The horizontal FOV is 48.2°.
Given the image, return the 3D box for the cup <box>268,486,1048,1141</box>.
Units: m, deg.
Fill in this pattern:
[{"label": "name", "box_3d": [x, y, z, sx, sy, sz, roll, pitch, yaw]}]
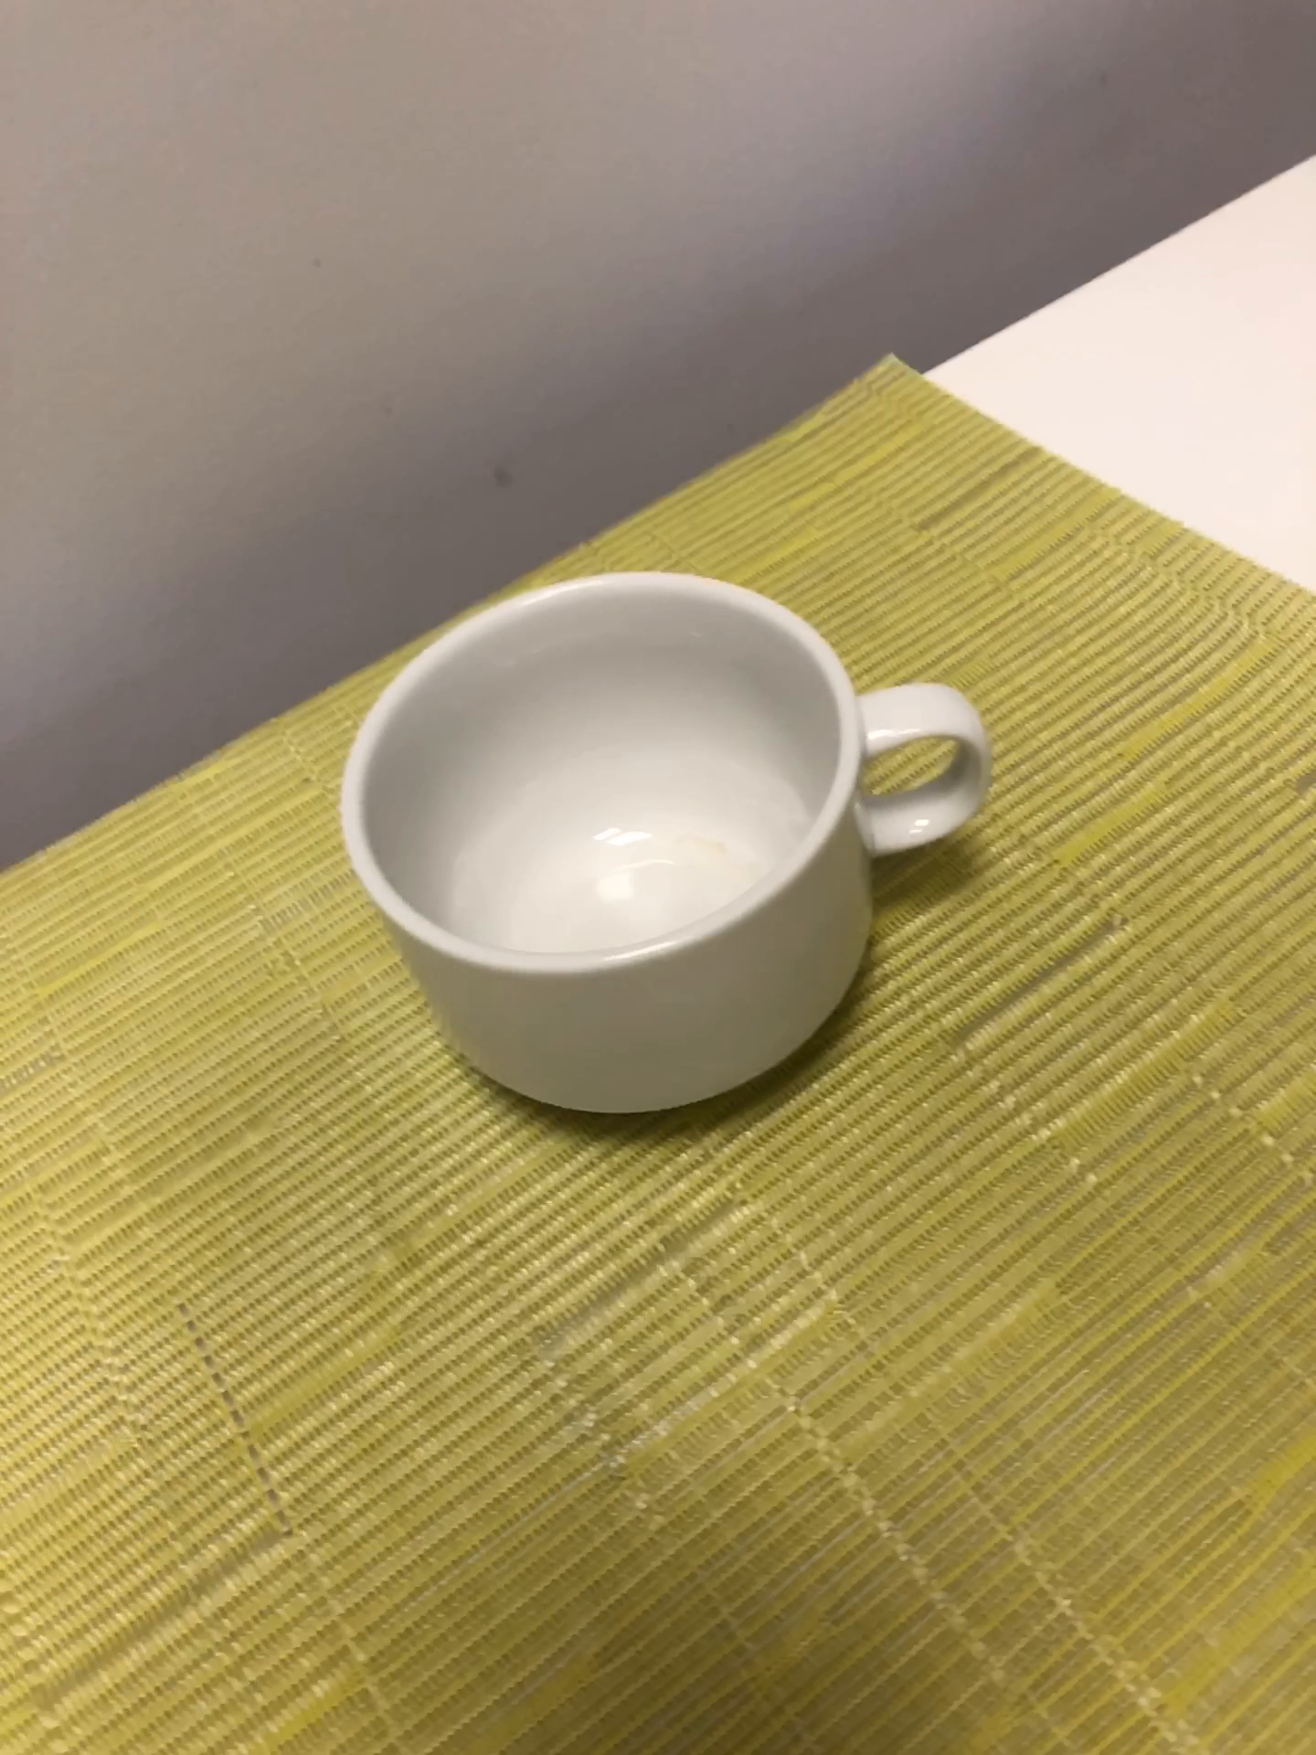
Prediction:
[{"label": "cup", "box_3d": [0.004, -0.010, 0.253, 0.110, 0.057, 0.086, -5, 51, 9]}]
